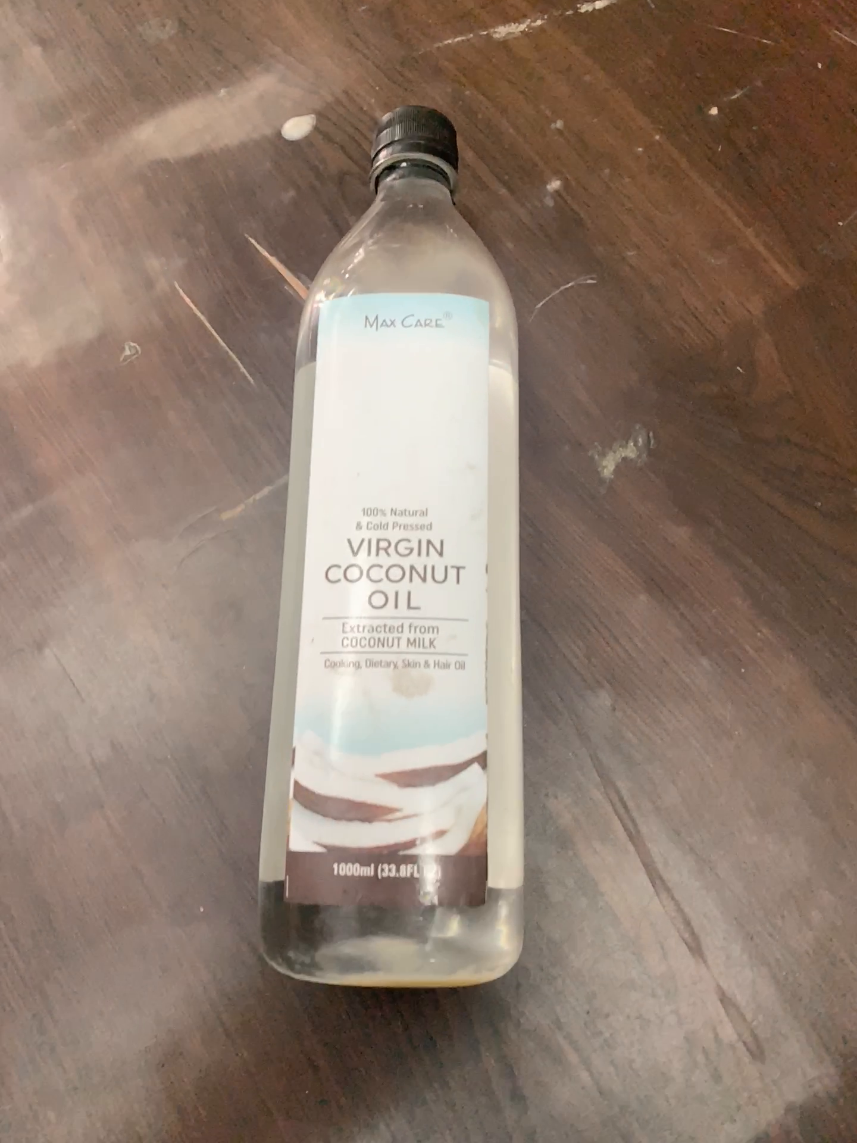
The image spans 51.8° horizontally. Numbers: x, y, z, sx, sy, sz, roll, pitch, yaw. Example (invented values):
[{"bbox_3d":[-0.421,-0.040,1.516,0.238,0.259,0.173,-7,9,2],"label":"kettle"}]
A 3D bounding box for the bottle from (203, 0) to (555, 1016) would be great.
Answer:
[{"bbox_3d":[-0.008,-0.031,0.272,0.080,0.070,0.290,1,74,2],"label":"bottle"}]
